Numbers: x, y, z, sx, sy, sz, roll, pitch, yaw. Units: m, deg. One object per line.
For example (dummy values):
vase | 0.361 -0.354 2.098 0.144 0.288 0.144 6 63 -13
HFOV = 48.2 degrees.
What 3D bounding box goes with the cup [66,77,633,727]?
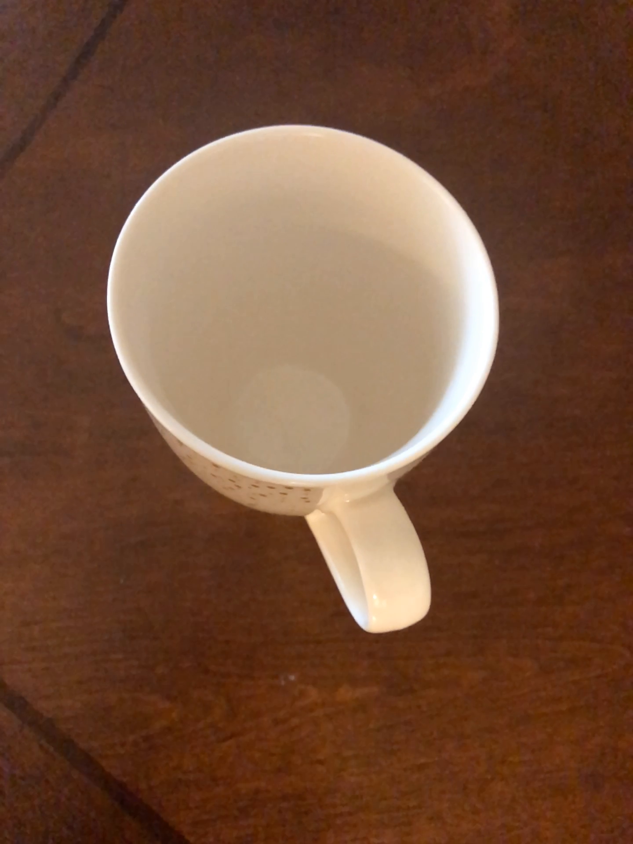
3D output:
cup | 0.001 -0.002 0.216 0.100 0.100 0.140 -15 75 -8
